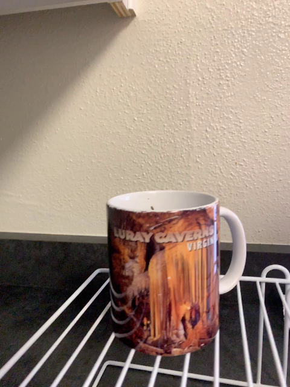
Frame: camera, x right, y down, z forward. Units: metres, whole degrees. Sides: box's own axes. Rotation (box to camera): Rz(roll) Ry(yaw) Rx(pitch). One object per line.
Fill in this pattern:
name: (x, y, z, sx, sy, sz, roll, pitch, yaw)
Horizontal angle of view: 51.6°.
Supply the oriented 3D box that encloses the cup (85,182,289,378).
cup: (0.027, 0.046, 0.219, 0.120, 0.090, 0.080, -6, 11, -21)
